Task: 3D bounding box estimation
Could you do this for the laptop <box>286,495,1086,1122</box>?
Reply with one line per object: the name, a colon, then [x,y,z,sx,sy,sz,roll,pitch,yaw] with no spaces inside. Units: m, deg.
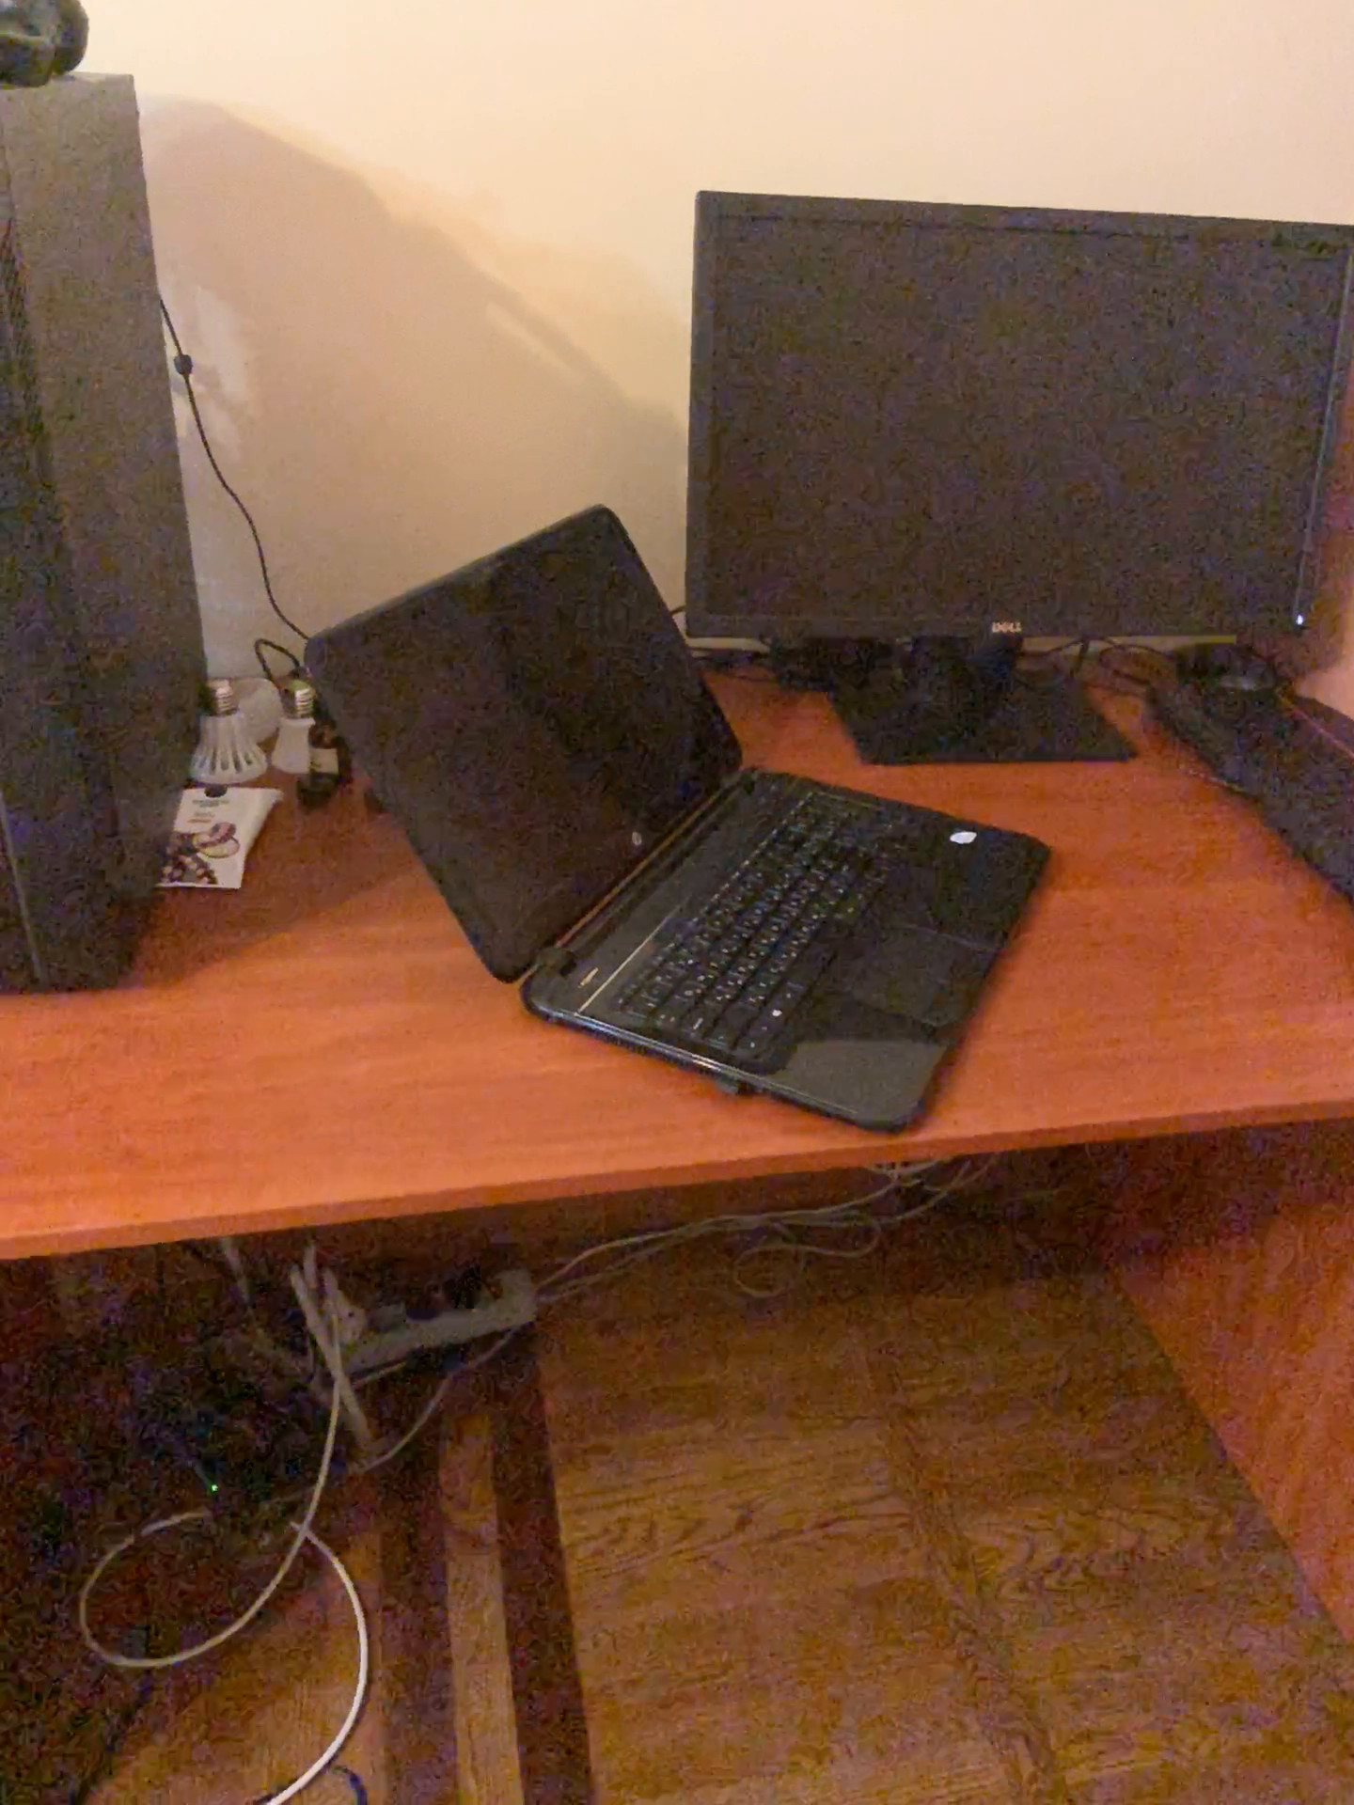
laptop: [0.023,-0.090,0.833,0.358,0.168,0.333,18,33,18]
